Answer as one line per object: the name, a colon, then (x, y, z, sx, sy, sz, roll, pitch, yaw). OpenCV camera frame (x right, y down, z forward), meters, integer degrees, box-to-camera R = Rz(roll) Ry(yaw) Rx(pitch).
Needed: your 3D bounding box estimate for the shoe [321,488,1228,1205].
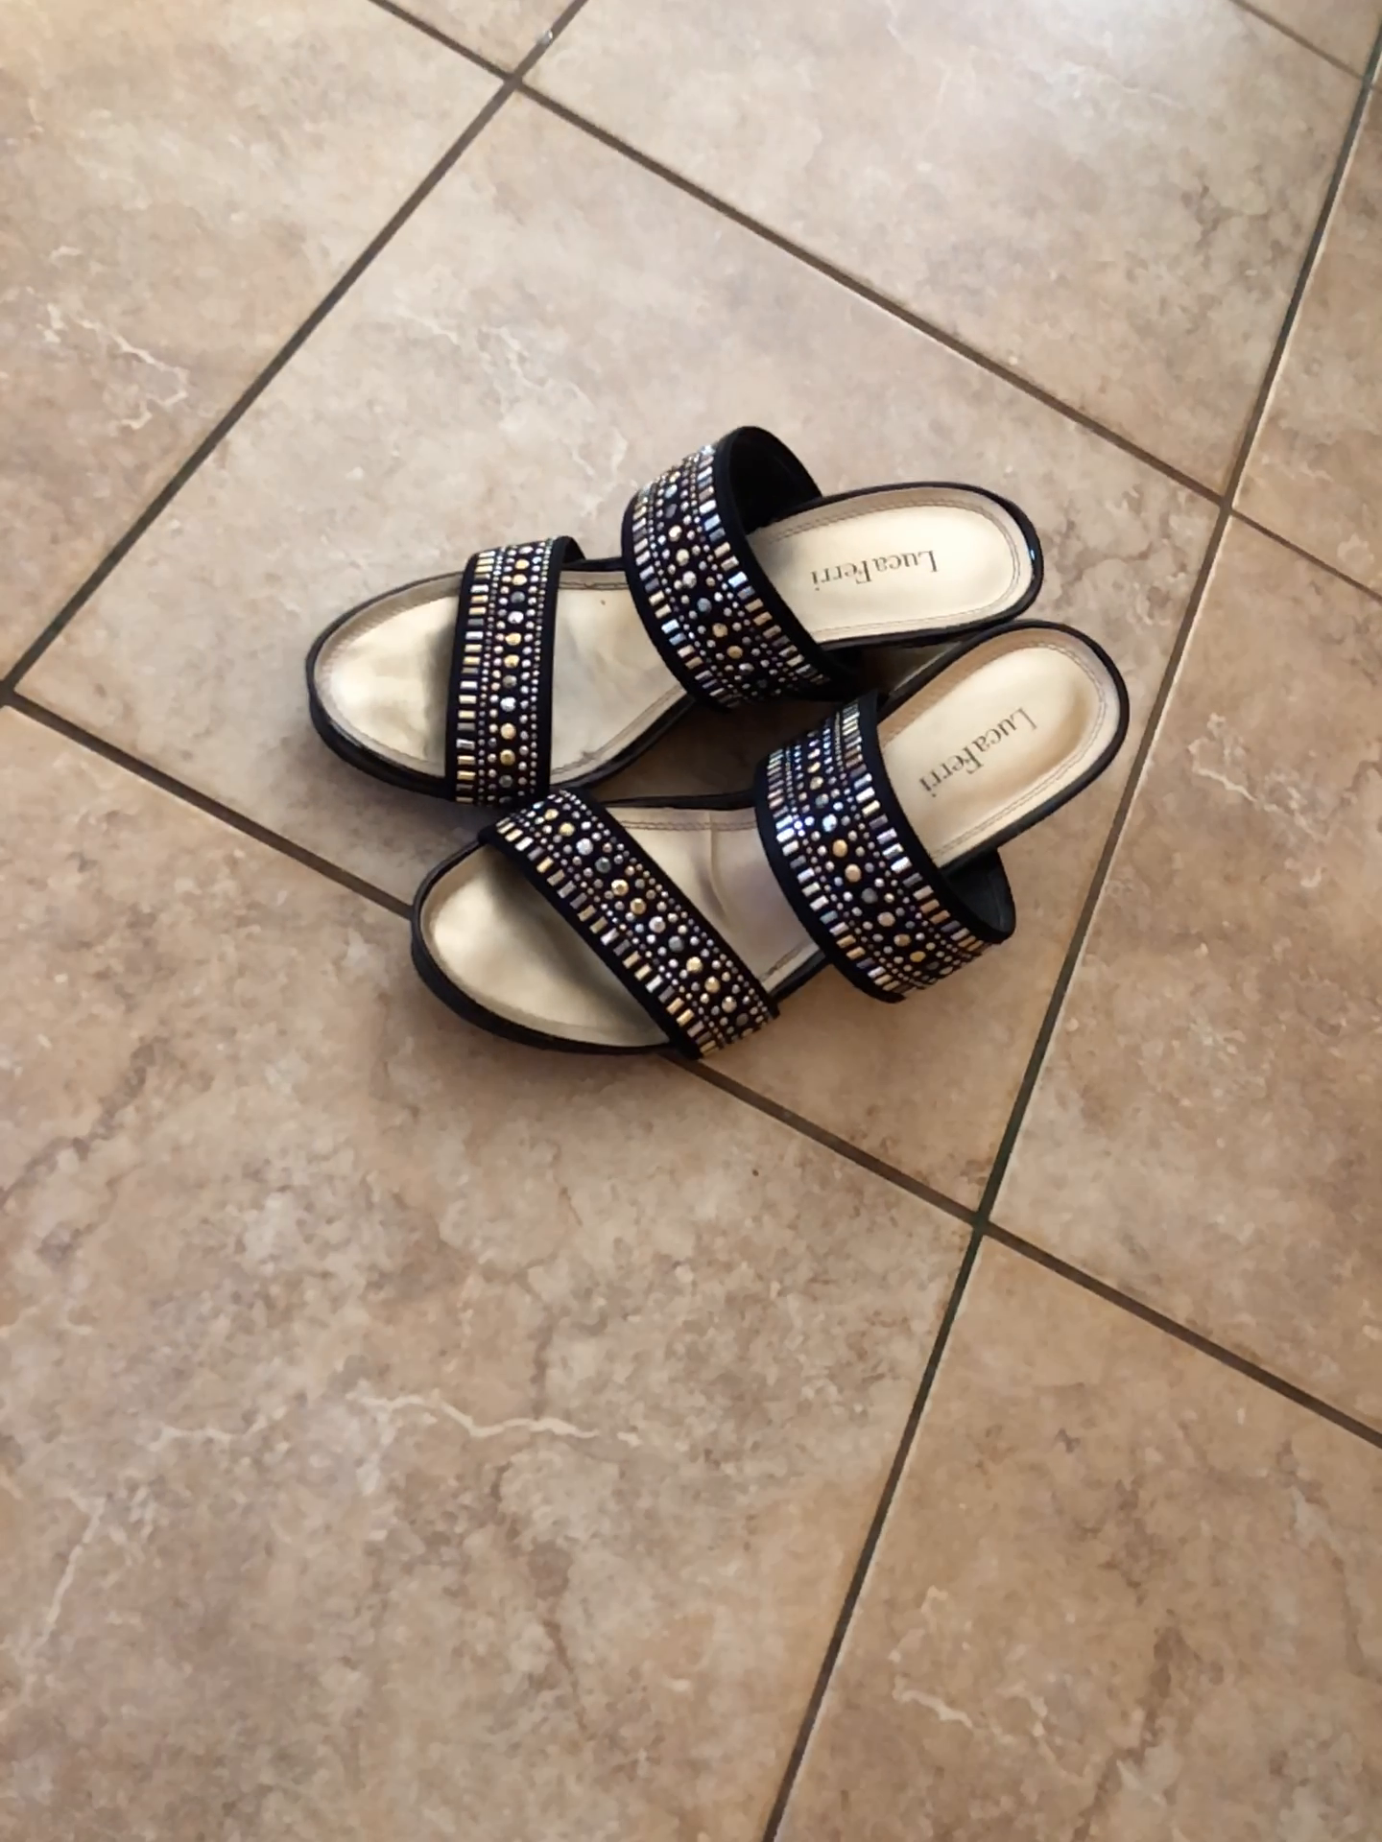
shoe: (0.022, -0.026, 0.443, 0.221, 0.100, 0.110, -23, 76, -25)

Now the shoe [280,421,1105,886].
shoe: (-0.005, -0.083, 0.467, 0.220, 0.100, 0.090, -7, 69, -20)
